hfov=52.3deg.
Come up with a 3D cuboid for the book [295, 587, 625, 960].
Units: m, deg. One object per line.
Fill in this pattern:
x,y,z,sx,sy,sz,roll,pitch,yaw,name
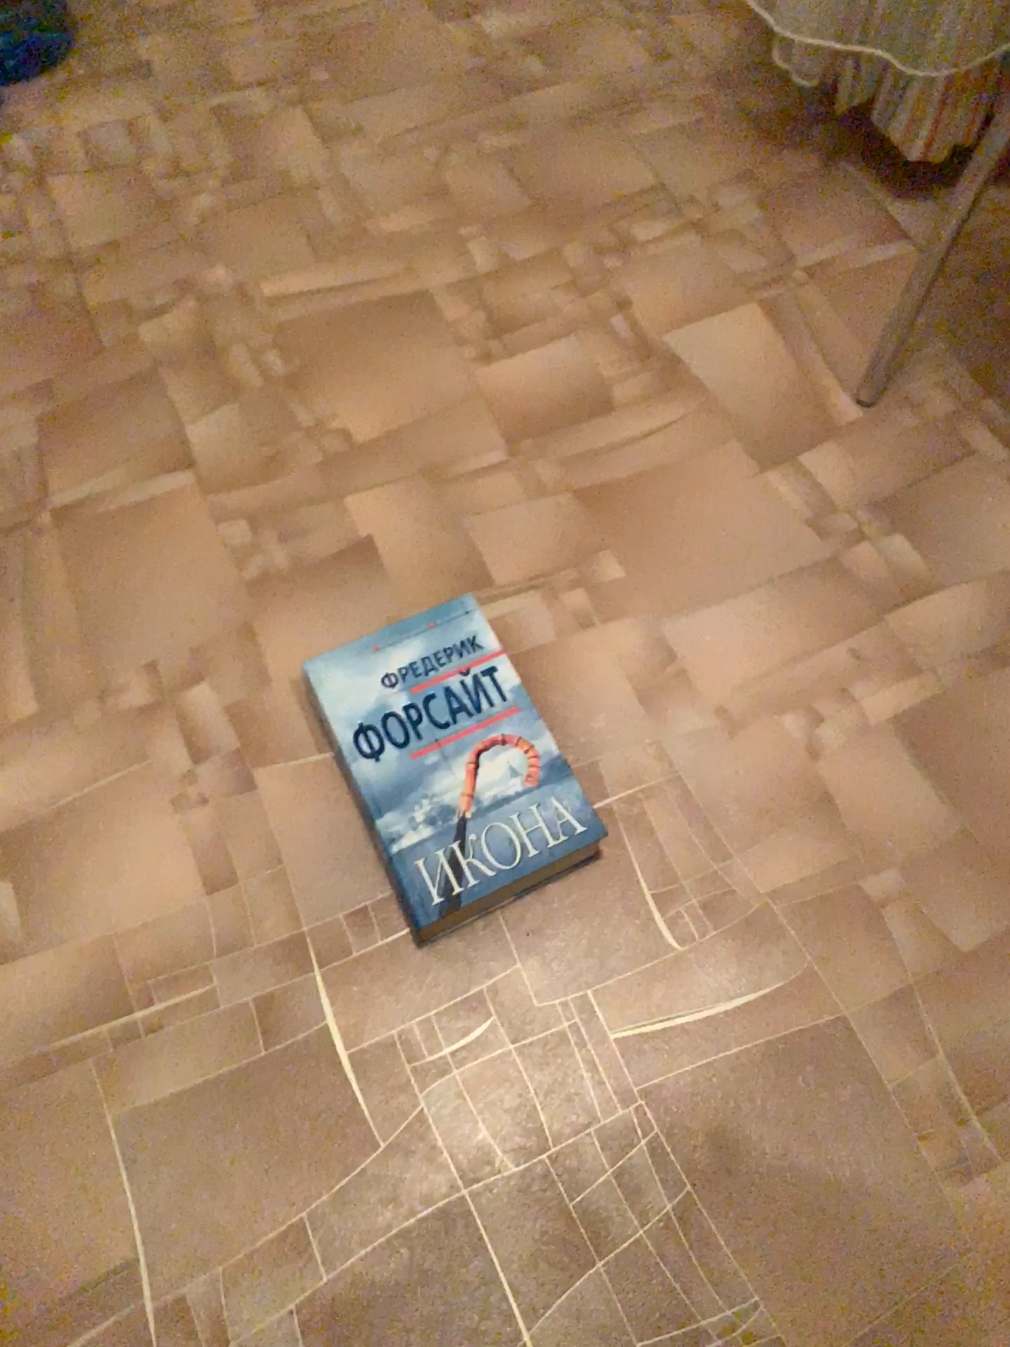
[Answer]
-0.036,0.065,0.743,0.152,0.056,0.224,-23,63,-11,book
